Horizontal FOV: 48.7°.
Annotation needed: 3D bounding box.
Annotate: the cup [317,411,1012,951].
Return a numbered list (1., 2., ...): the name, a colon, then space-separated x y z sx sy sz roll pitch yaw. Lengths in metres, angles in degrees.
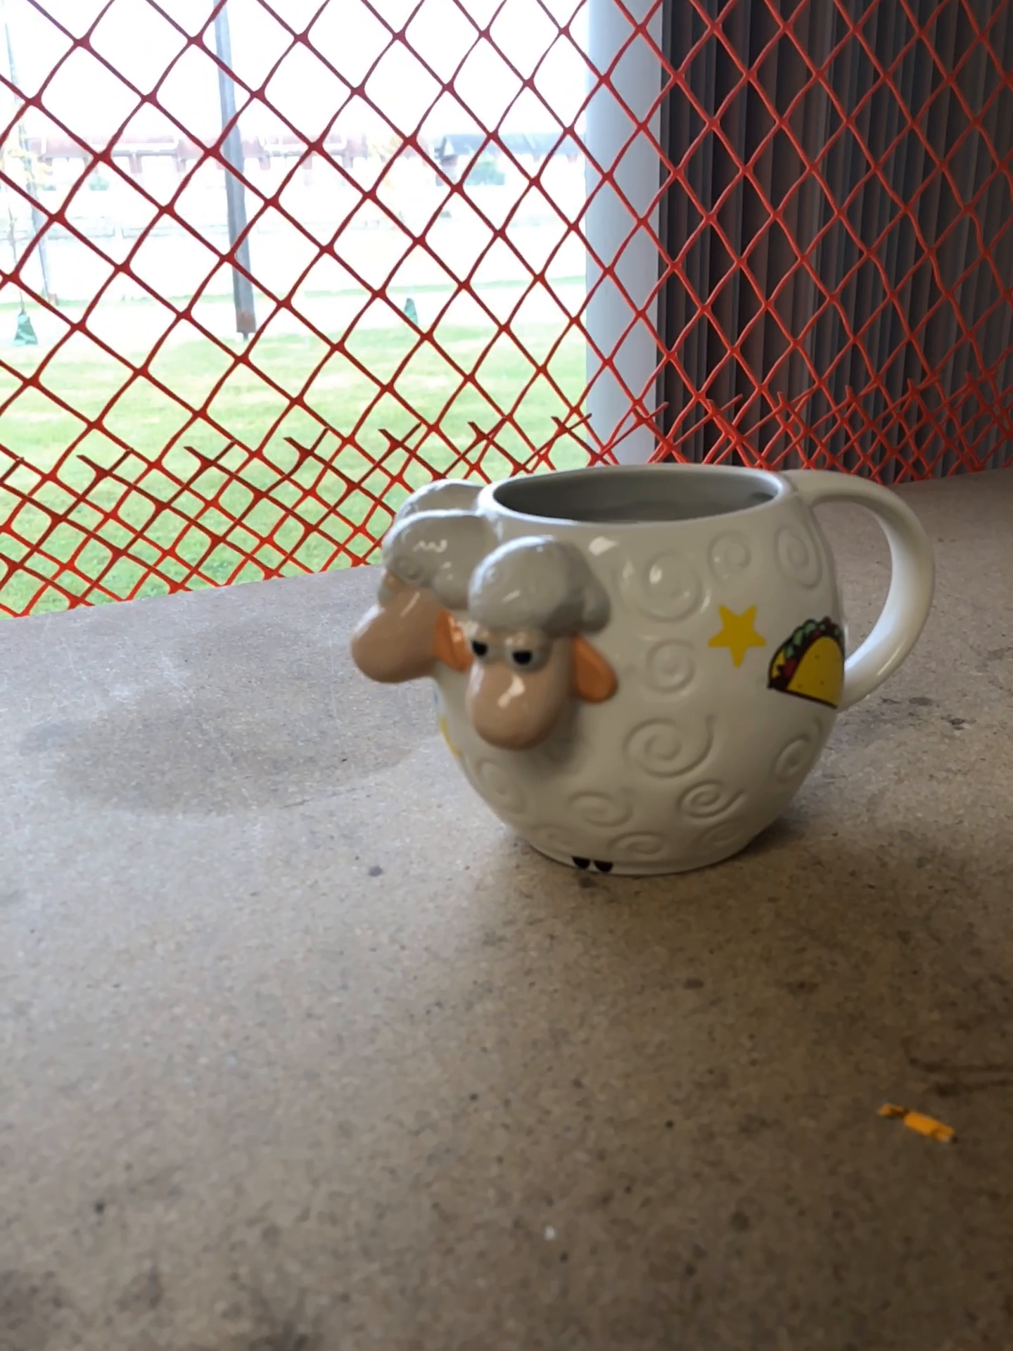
1. cup: 0.038 -0.009 0.282 0.146 0.090 0.076 -12 23 -22
